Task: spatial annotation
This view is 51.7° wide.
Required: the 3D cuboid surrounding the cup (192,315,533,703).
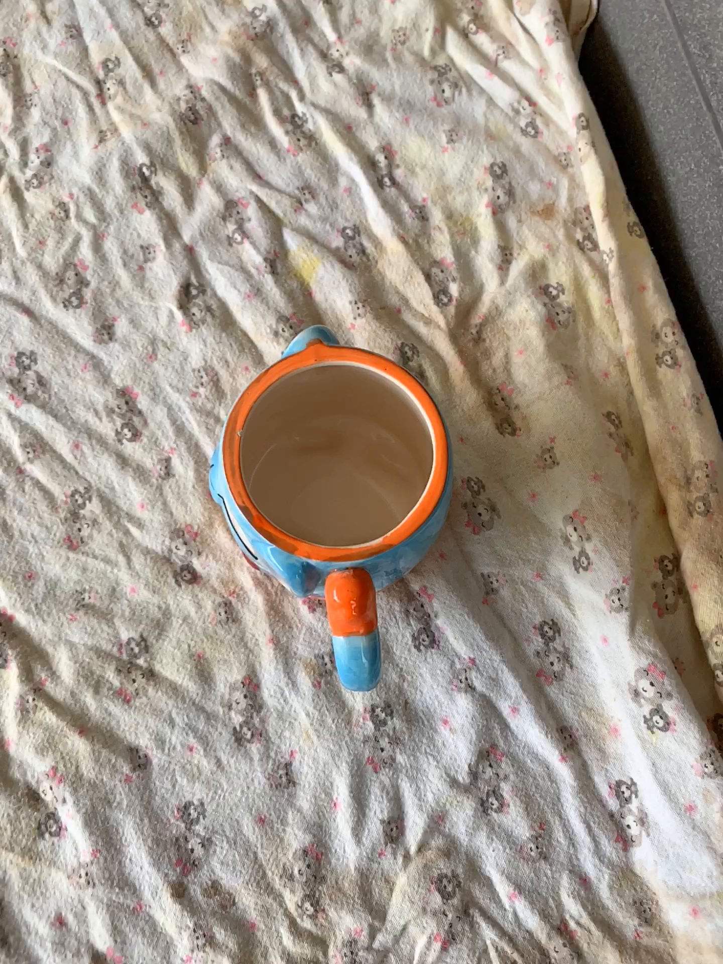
[{"bbox_3d":[-0.004,0.015,0.265,0.090,0.090,0.110,-5,75,-4],"label":"cup"}]
